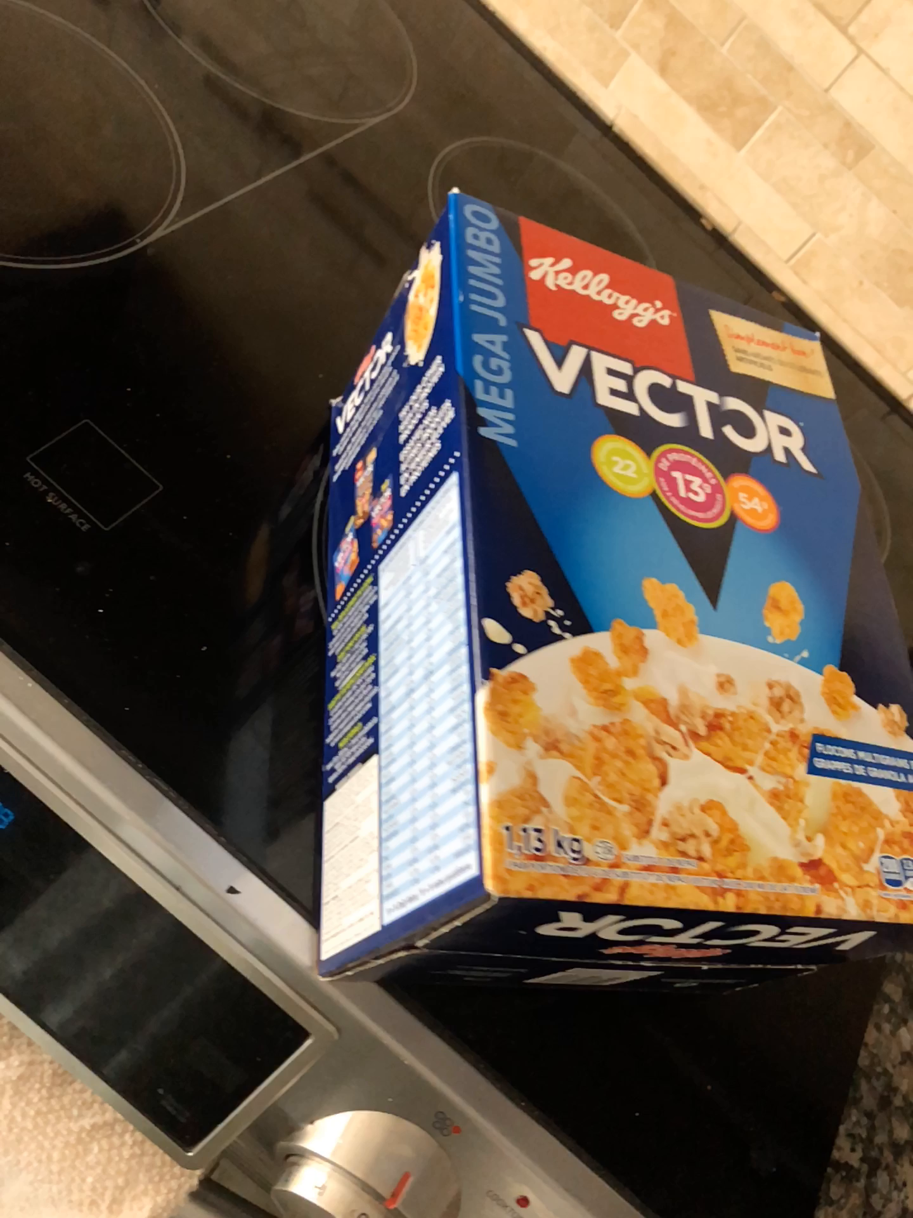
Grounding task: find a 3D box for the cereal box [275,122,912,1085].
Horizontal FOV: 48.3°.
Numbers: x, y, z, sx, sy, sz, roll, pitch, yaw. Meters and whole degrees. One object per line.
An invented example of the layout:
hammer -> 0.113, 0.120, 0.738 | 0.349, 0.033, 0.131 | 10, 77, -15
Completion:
cereal box -> 0.072, 0.020, 0.411 | 0.221, 0.169, 0.310 | 13, 61, -25
